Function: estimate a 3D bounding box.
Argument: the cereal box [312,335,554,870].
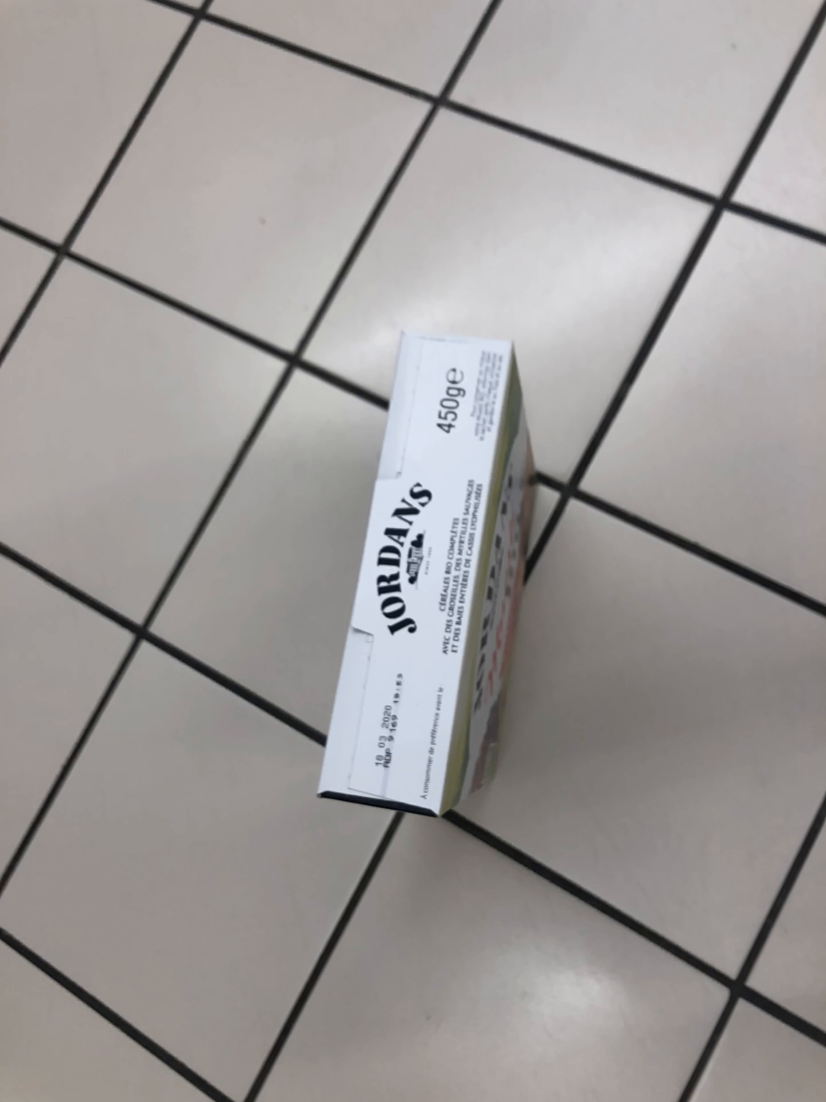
[{"bbox_3d":[0.025,0.033,0.442,0.060,0.220,0.190,8,81,10],"label":"cereal box"}]
